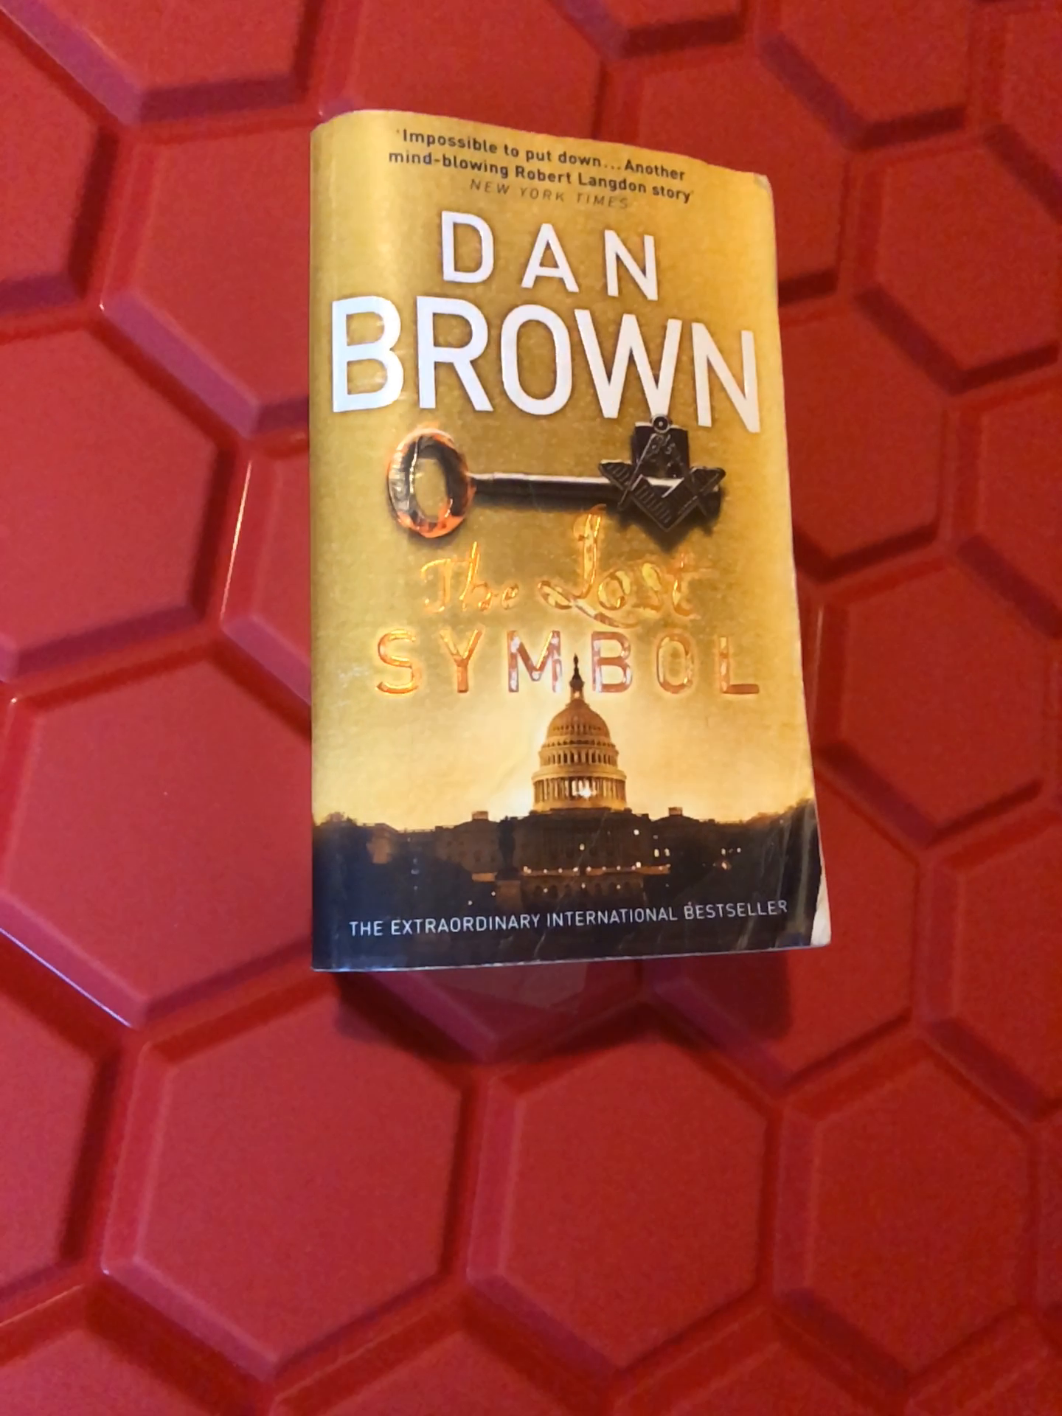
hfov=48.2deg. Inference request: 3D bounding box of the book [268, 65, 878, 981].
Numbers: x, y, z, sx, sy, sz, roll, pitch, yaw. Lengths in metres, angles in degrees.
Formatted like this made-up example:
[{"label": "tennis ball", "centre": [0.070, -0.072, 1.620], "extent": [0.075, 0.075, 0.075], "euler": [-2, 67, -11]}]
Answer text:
[{"label": "book", "centre": [0.005, -0.036, 0.271], "extent": [0.122, 0.051, 0.183], "euler": [1, 81, -18]}]
